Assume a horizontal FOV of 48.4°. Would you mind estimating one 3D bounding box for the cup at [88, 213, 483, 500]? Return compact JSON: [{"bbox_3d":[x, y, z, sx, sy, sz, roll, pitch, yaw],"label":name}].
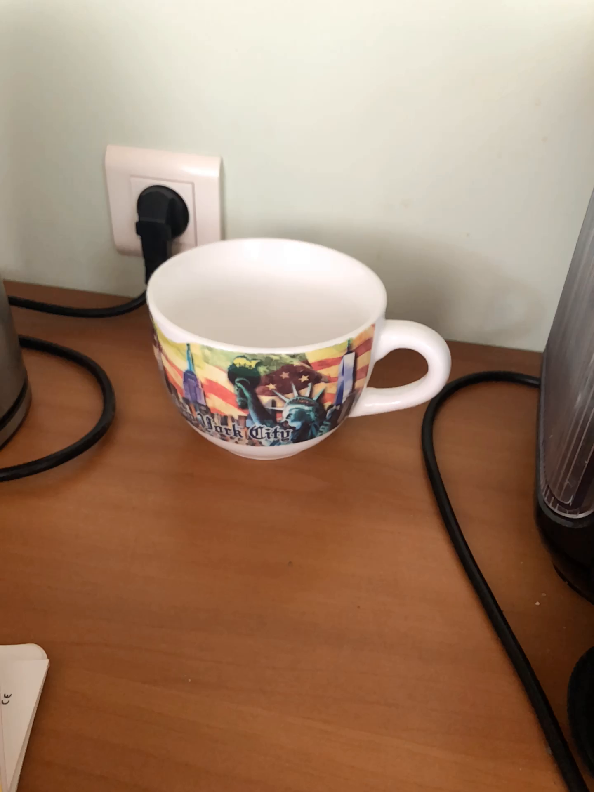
[{"bbox_3d":[0.001,-0.031,0.353,0.170,0.070,0.121,12,37,12],"label":"cup"}]
